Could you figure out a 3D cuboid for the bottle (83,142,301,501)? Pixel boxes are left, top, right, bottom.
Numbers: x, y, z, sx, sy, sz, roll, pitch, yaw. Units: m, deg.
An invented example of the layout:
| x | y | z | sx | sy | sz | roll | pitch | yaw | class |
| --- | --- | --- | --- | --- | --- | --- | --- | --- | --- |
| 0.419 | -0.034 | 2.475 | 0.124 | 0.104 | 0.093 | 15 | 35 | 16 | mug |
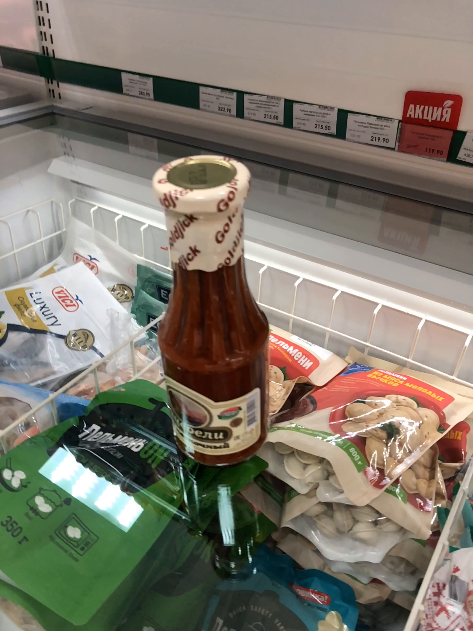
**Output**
| x | y | z | sx | sy | sz | roll | pitch | yaw | class |
| --- | --- | --- | --- | --- | --- | --- | --- | --- | --- |
| -0.017 | 0.010 | 0.289 | 0.070 | 0.179 | 0.070 | -1 | 39 | 1 | bottle |
